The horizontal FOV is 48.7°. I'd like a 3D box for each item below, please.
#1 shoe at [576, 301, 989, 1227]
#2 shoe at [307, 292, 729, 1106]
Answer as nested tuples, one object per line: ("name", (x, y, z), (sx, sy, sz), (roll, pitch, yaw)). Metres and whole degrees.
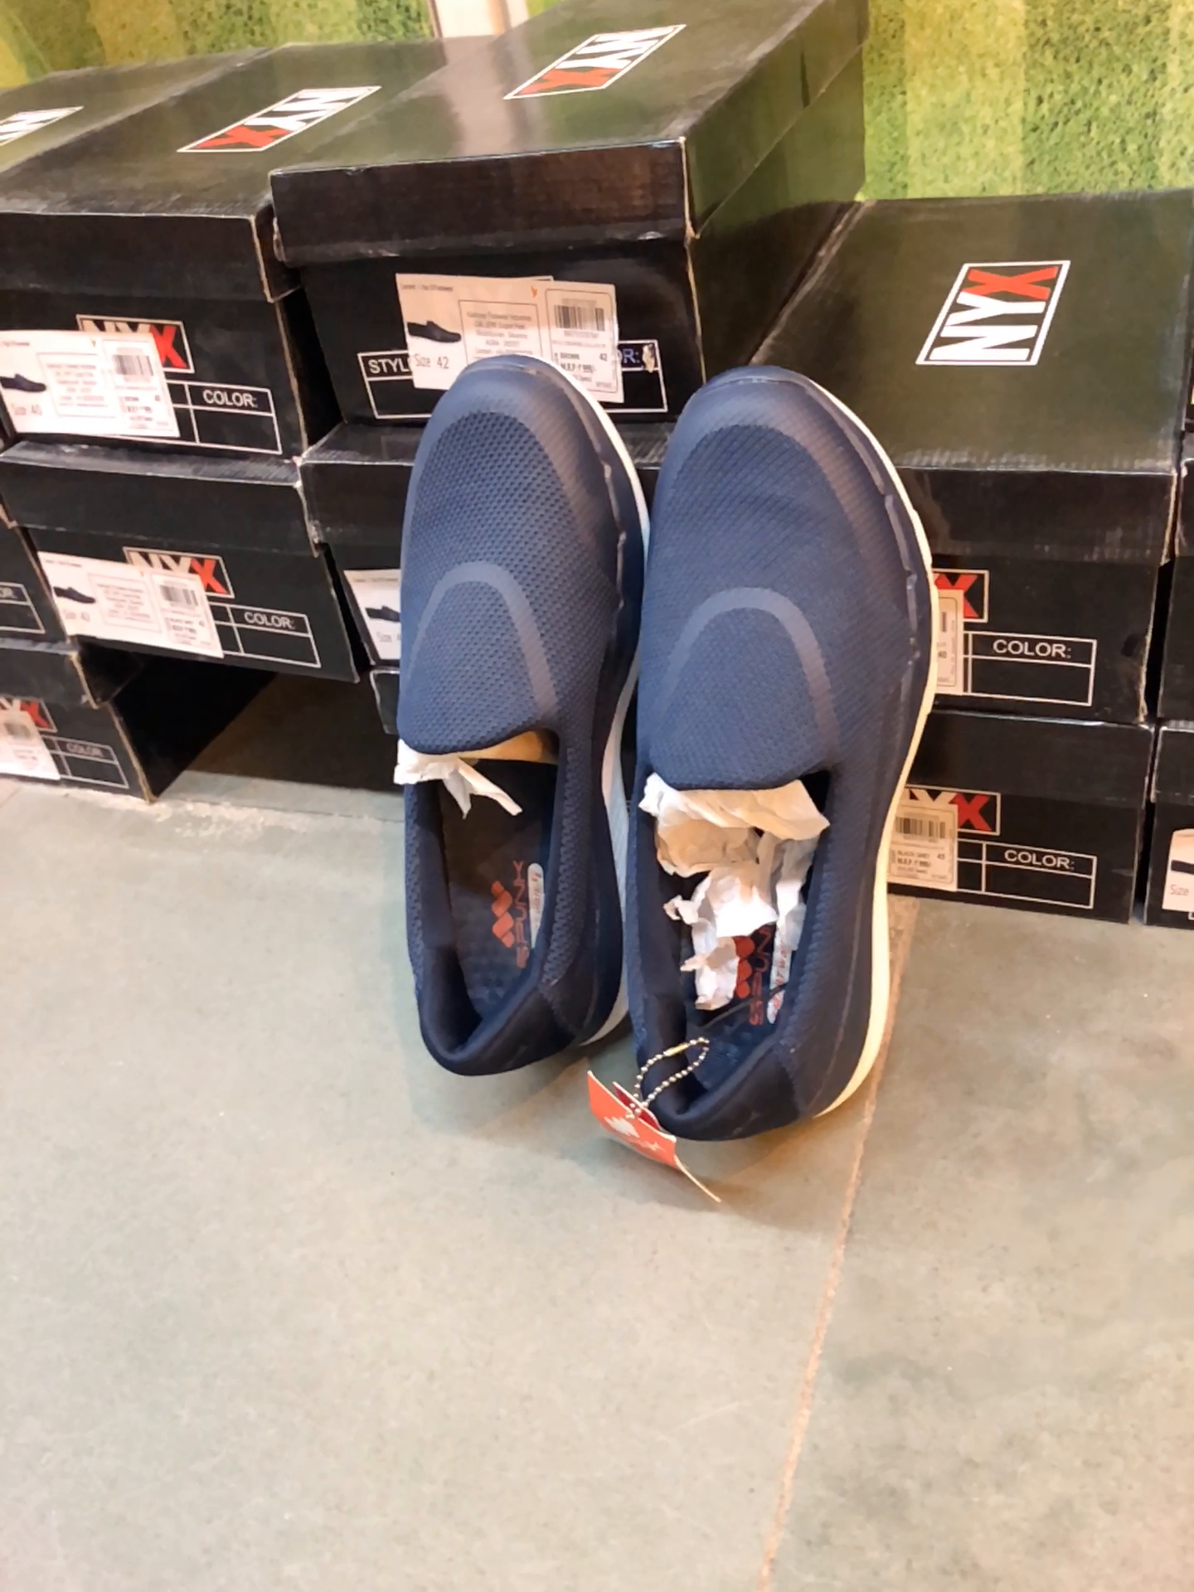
("shoe", (0.065, -0.014, 0.447), (0.107, 0.273, 0.099), (4, 13, 23))
("shoe", (-0.021, -0.039, 0.508), (0.109, 0.273, 0.110), (3, 15, 24))
